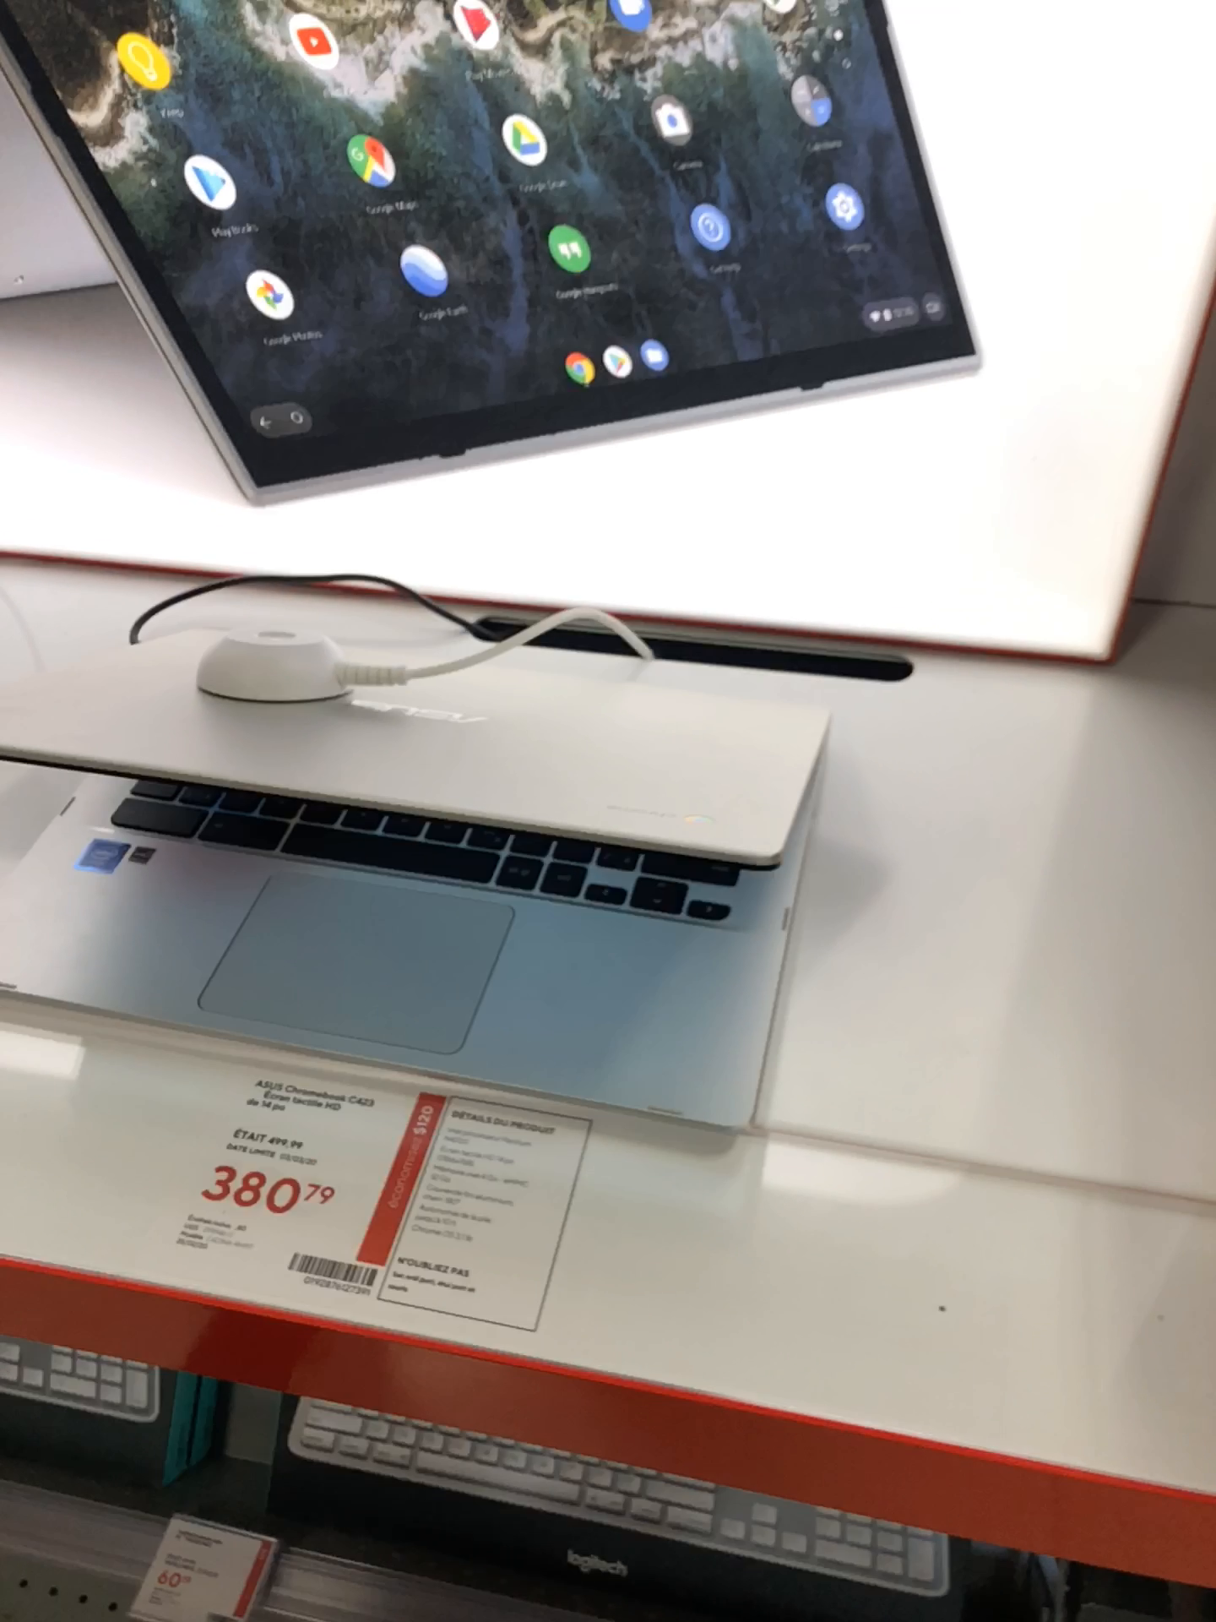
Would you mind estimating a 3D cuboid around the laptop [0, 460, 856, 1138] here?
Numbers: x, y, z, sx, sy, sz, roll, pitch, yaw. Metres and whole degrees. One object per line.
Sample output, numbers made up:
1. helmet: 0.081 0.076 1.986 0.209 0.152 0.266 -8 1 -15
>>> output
1. laptop: -0.081 -0.024 0.523 0.317 0.100 0.226 8 43 12
